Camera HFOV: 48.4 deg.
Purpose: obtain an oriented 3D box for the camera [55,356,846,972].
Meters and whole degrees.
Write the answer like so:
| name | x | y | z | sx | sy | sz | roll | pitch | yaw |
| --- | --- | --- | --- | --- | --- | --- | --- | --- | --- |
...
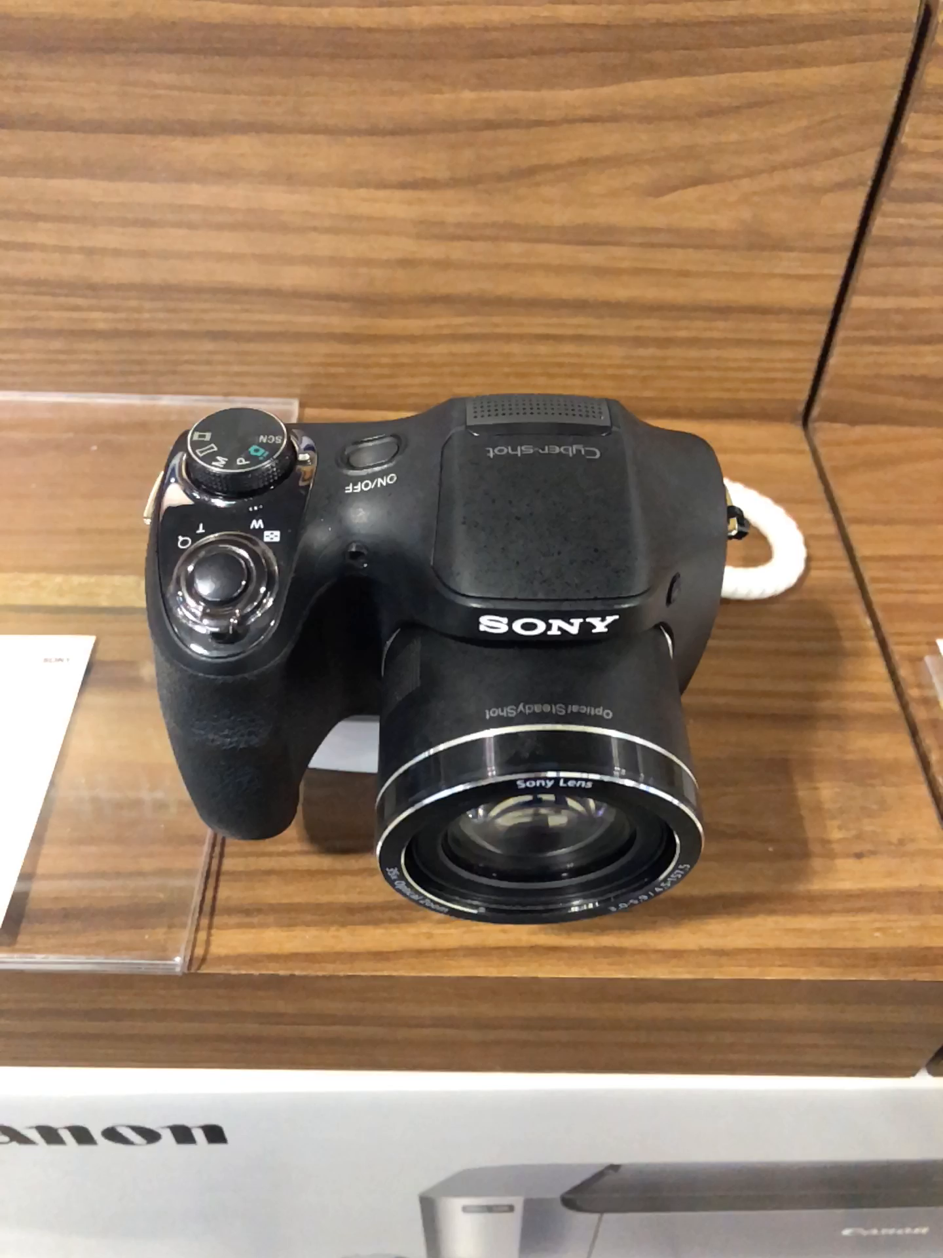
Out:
| name | x | y | z | sx | sy | sz | roll | pitch | yaw |
| --- | --- | --- | --- | --- | --- | --- | --- | --- | --- |
| camera | -0.006 | 0.006 | 0.224 | 0.120 | 0.092 | 0.091 | -1 | 44 | -3 |
